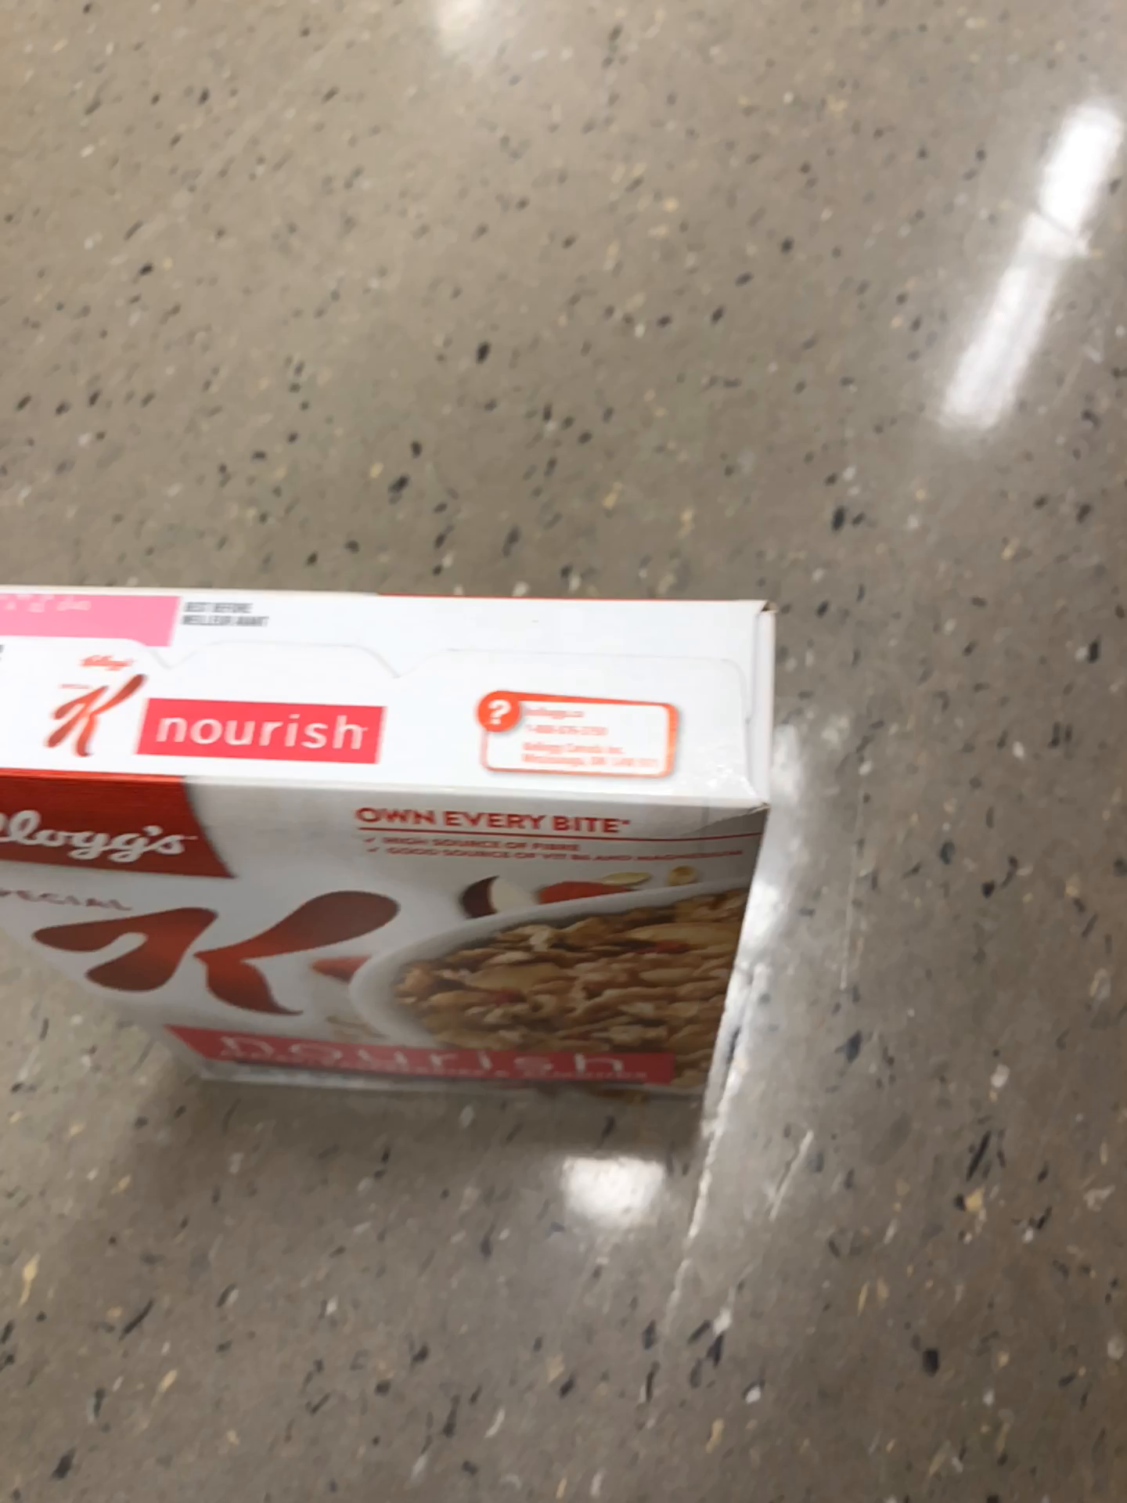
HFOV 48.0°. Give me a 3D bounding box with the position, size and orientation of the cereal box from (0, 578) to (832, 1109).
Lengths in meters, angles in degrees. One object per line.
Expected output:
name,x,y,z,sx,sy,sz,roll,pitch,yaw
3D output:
cereal box,-0.046,0.051,0.380,0.210,0.290,0.050,2,65,4
